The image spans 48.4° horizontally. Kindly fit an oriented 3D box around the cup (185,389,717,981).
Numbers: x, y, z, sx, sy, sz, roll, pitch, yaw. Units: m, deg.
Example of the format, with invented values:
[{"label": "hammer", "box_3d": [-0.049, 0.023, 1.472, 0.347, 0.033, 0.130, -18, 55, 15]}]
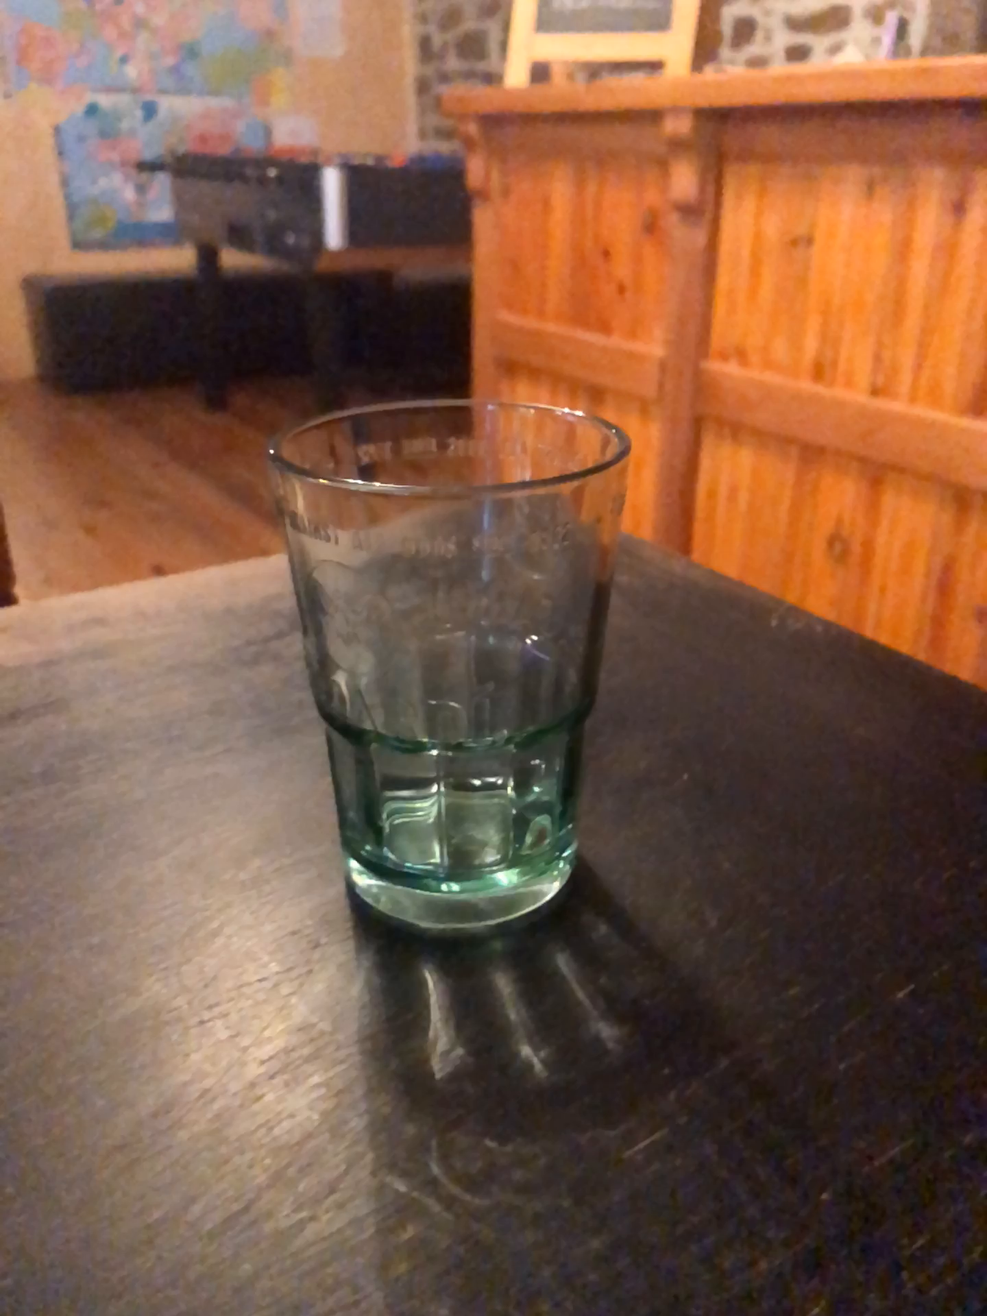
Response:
[{"label": "cup", "box_3d": [-0.011, -0.002, 0.271, 0.089, 0.103, 0.083, 0, 24, 0]}]
